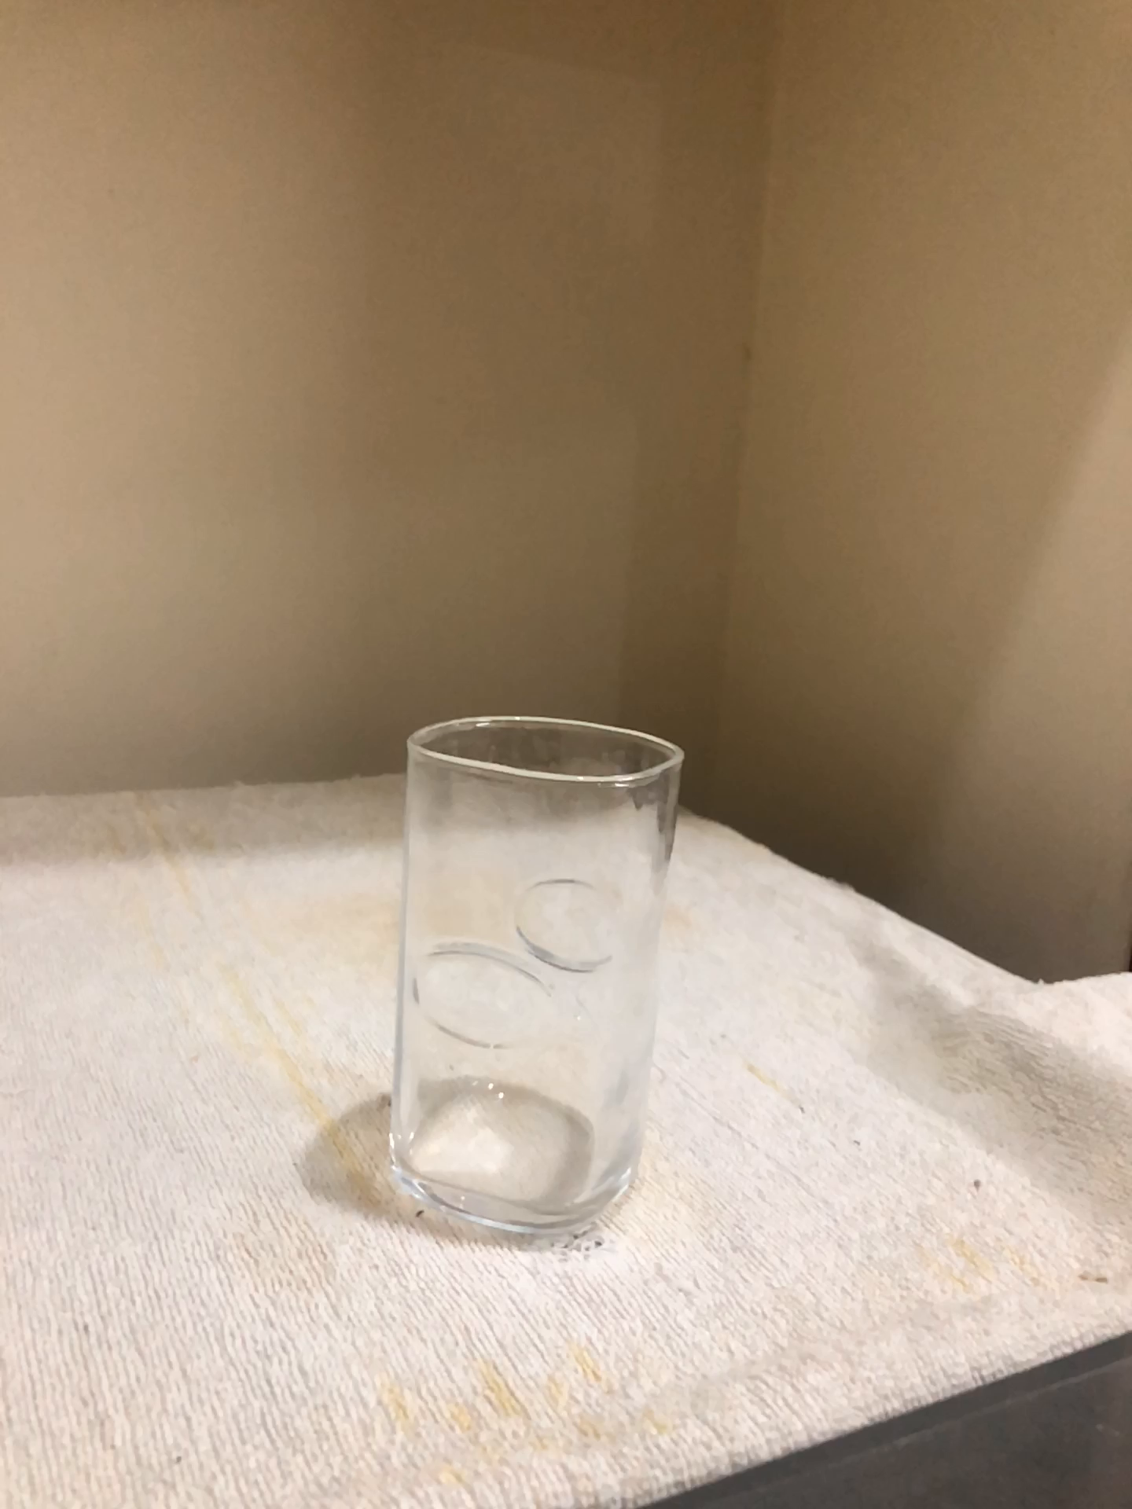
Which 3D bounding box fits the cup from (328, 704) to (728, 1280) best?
[{"bbox_3d":[-0.008,0.050,0.308,0.070,0.110,0.070,4,11,-1],"label":"cup"}]
